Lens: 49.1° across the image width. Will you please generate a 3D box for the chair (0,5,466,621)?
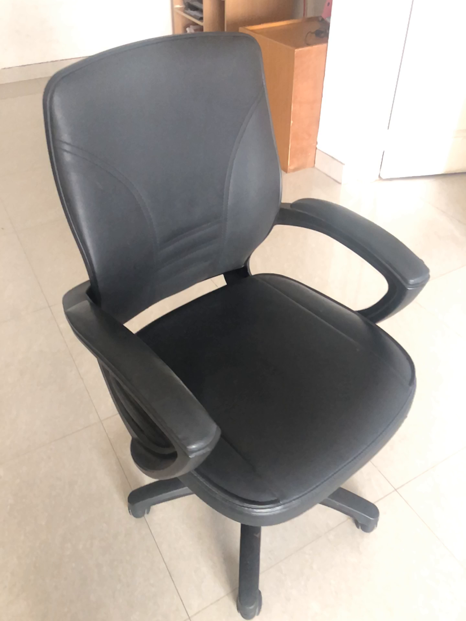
[{"bbox_3d":[0.071,0.040,1.002,0.702,0.953,0.633,-28,48,-29],"label":"chair"}]
